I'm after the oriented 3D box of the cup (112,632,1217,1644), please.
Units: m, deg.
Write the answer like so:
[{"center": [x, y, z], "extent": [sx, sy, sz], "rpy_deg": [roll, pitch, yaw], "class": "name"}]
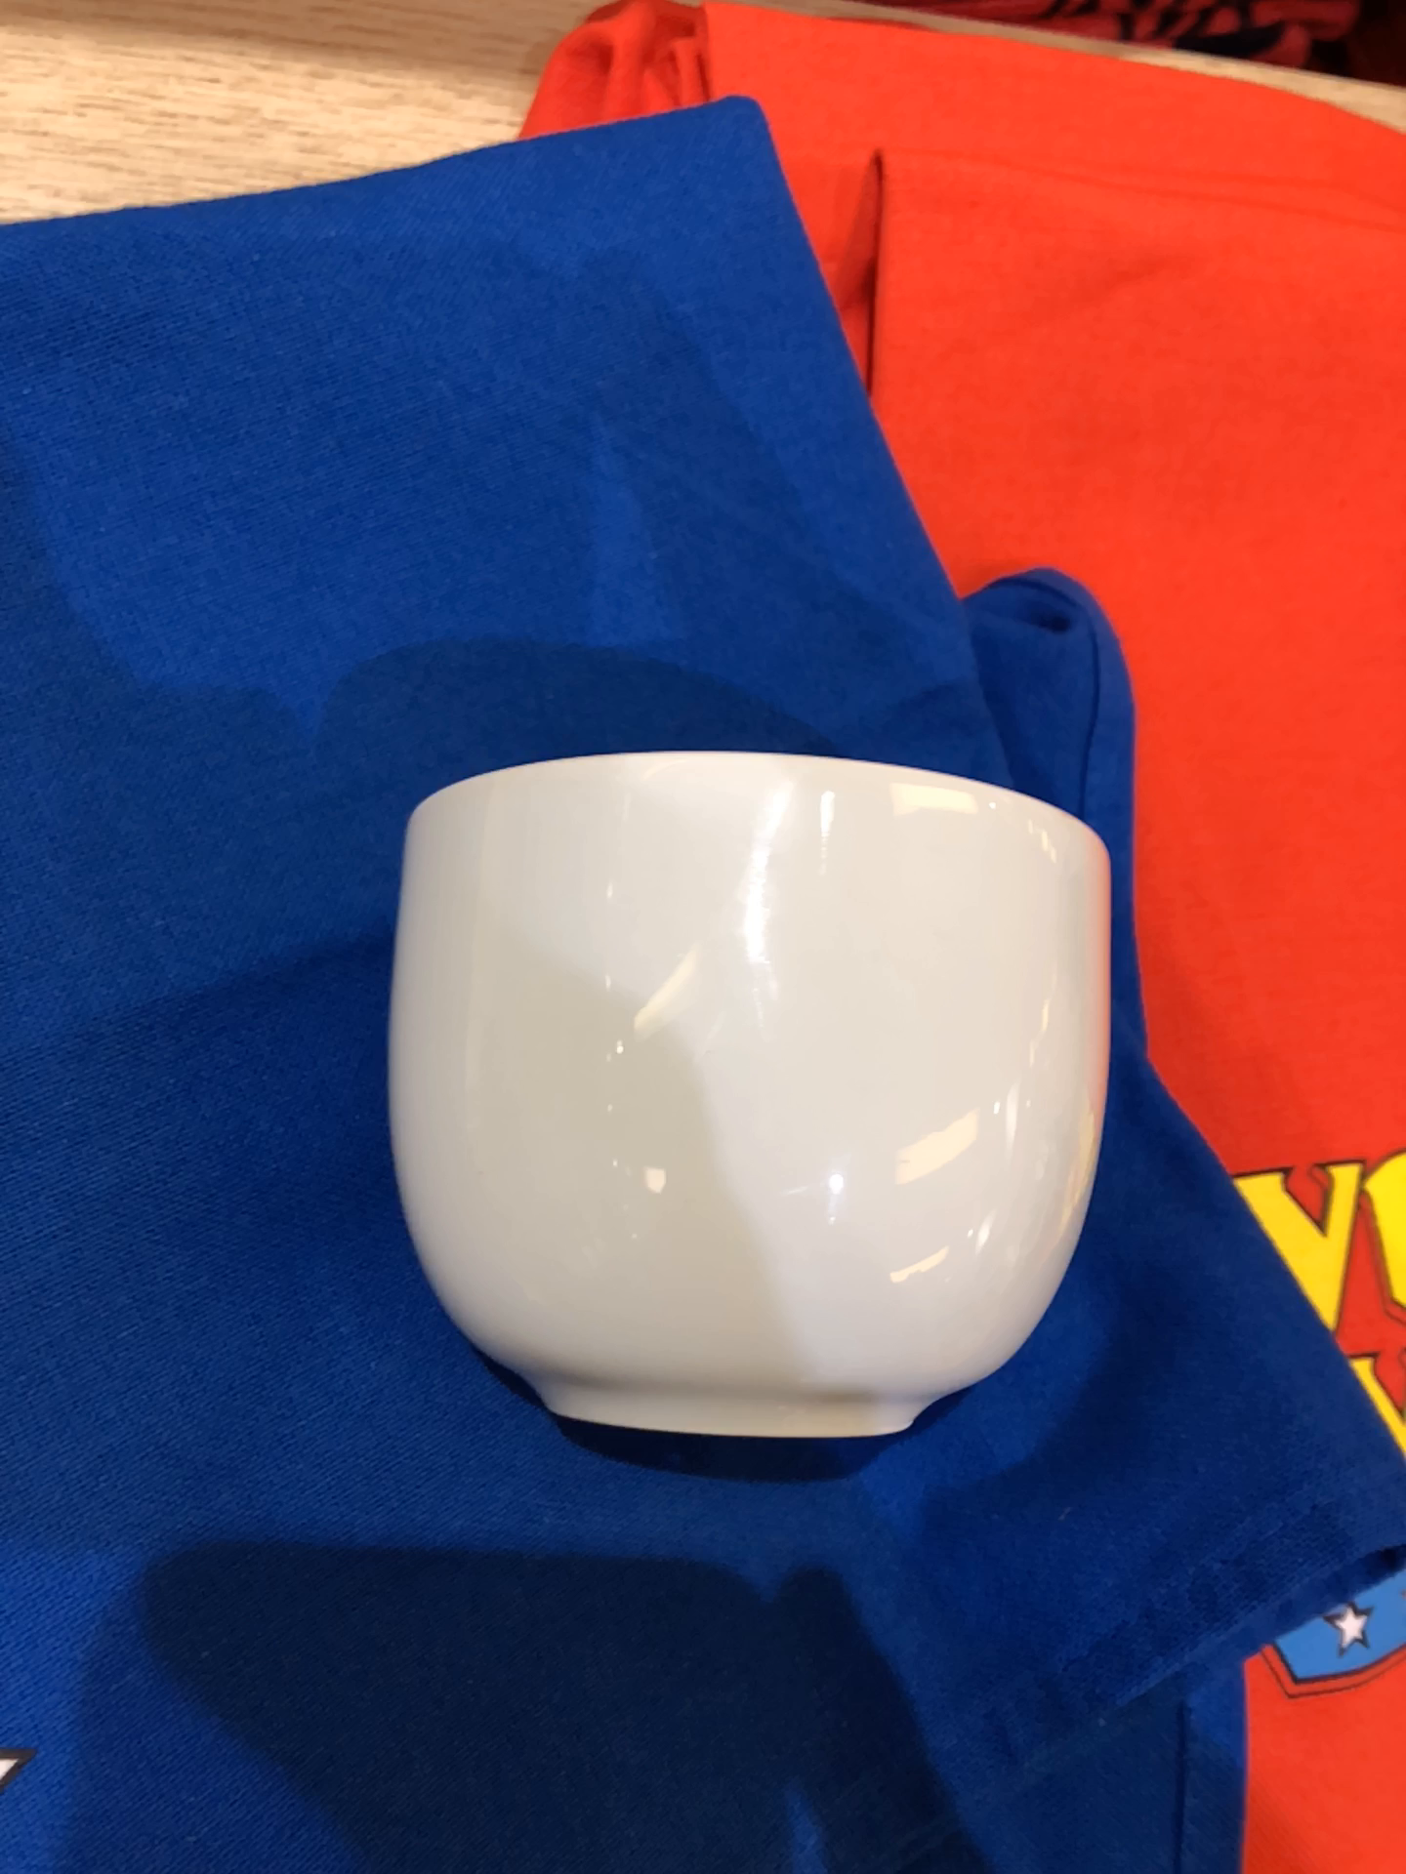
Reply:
[{"center": [0.007, 0.030, 0.216], "extent": [0.130, 0.080, 0.090], "rpy_deg": [18, 73, -51], "class": "cup"}]
